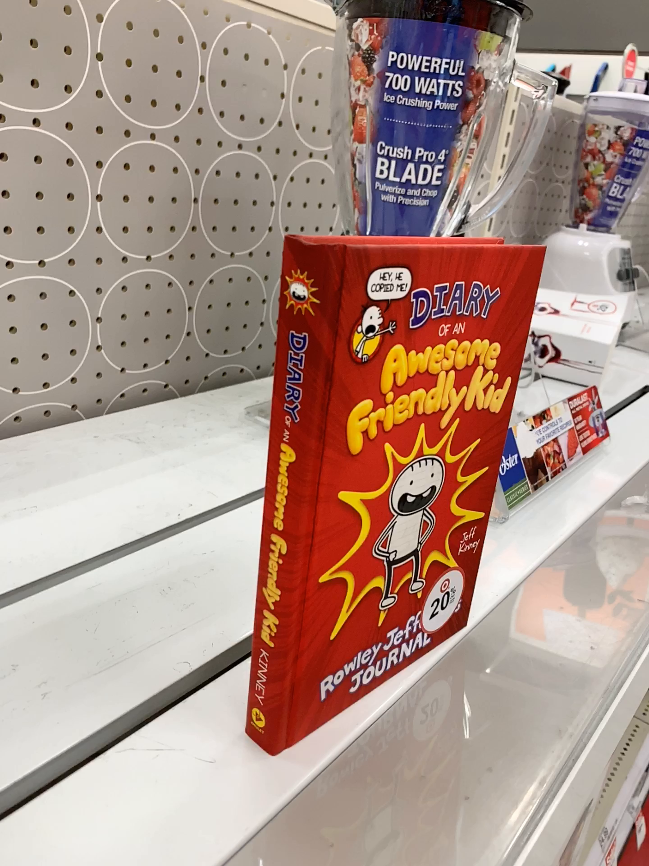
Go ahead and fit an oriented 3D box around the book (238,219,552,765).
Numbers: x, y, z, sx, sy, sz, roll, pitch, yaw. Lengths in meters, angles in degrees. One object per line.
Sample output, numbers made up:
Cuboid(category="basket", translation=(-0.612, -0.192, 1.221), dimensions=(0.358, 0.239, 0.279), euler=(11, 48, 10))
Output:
Cuboid(category="book", translation=(0.031, 0.019, 0.294), dimensions=(0.030, 0.209, 0.140), euler=(23, 27, 38))
